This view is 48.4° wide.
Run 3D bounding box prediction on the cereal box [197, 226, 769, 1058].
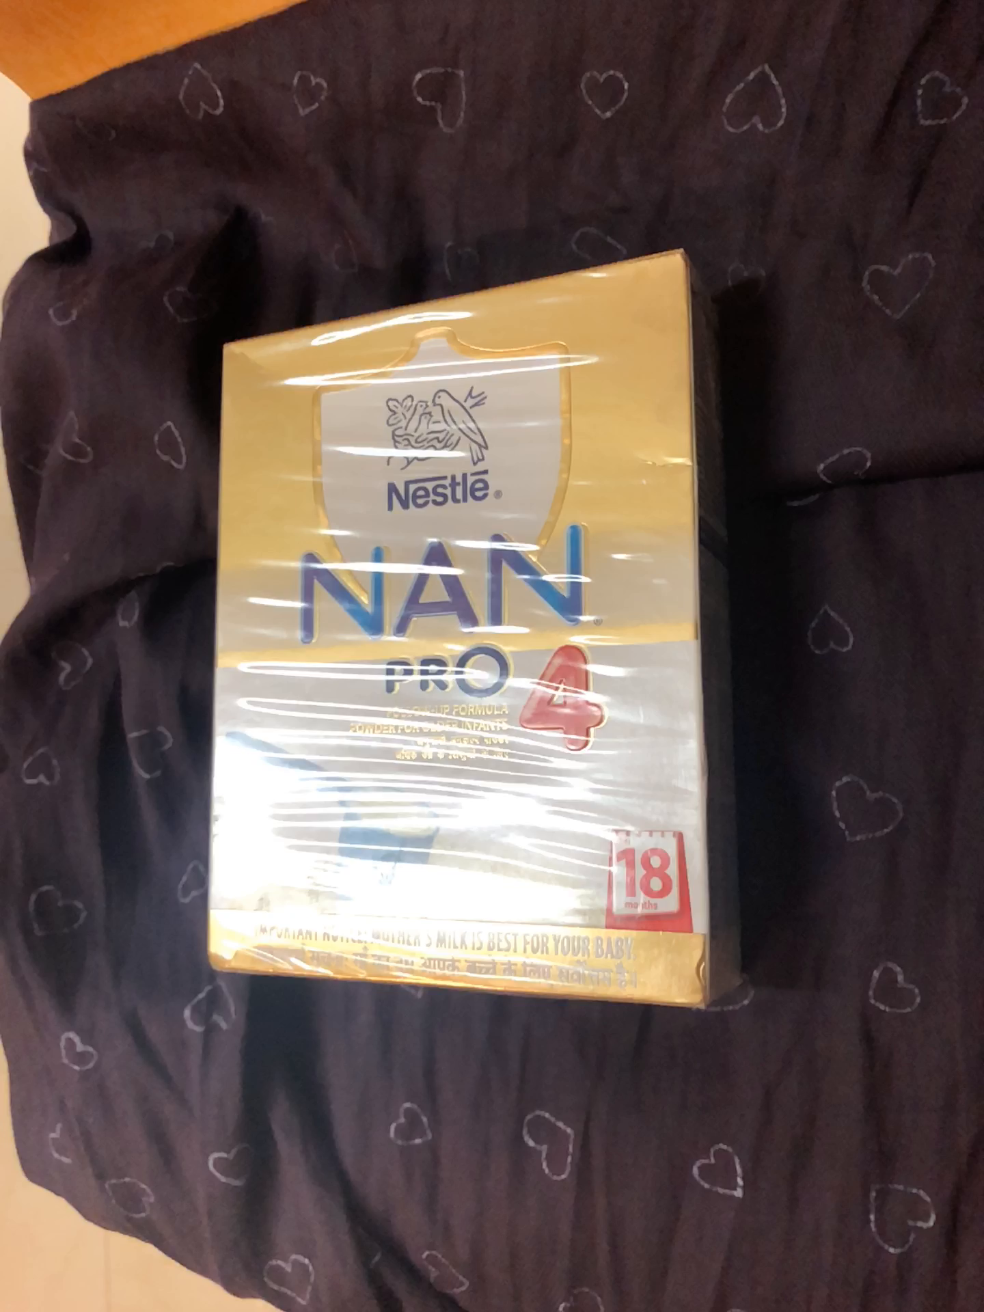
[{"bbox_3d":[-0.006,-0.001,0.330,0.160,0.050,0.210,-4,82,25],"label":"cereal box"}]
